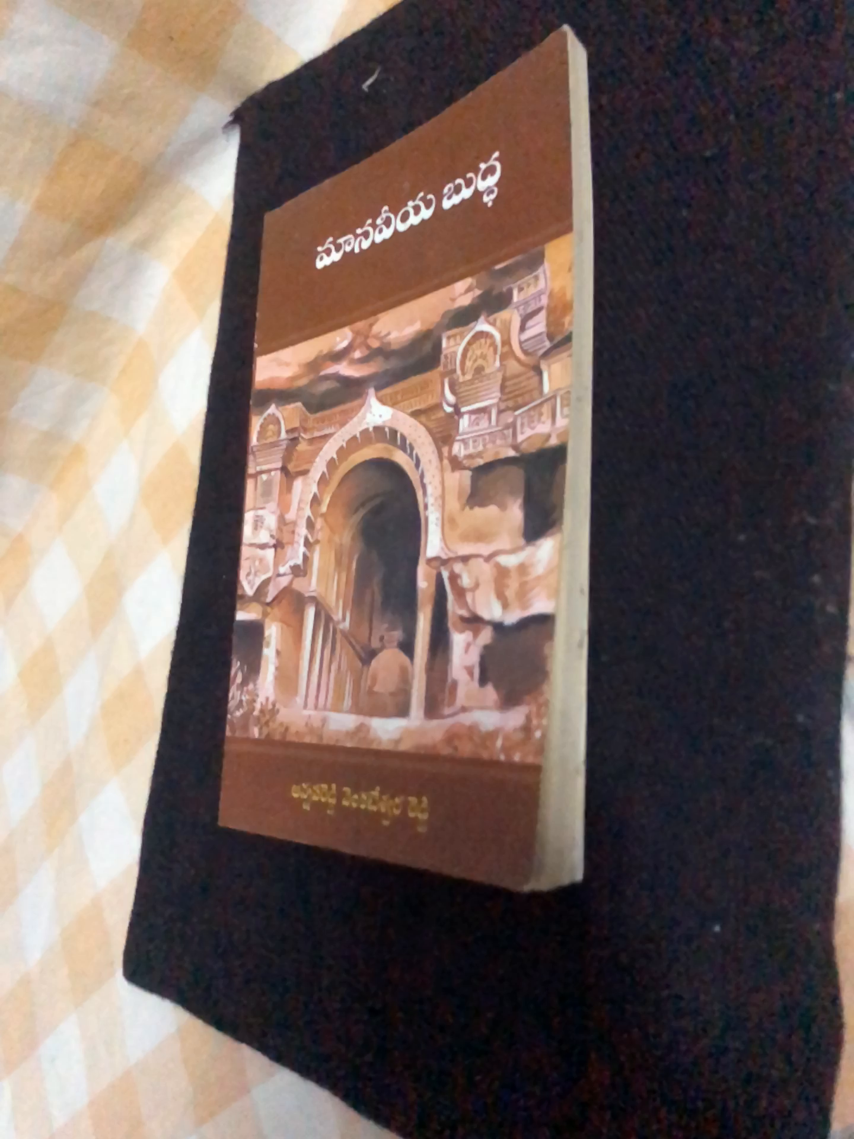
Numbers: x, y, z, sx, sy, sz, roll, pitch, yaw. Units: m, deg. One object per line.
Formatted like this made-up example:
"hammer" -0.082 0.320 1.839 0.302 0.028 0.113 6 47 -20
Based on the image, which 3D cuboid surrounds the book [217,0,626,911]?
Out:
"book" -0.007 -0.032 0.280 0.140 0.020 0.230 -8 76 46
